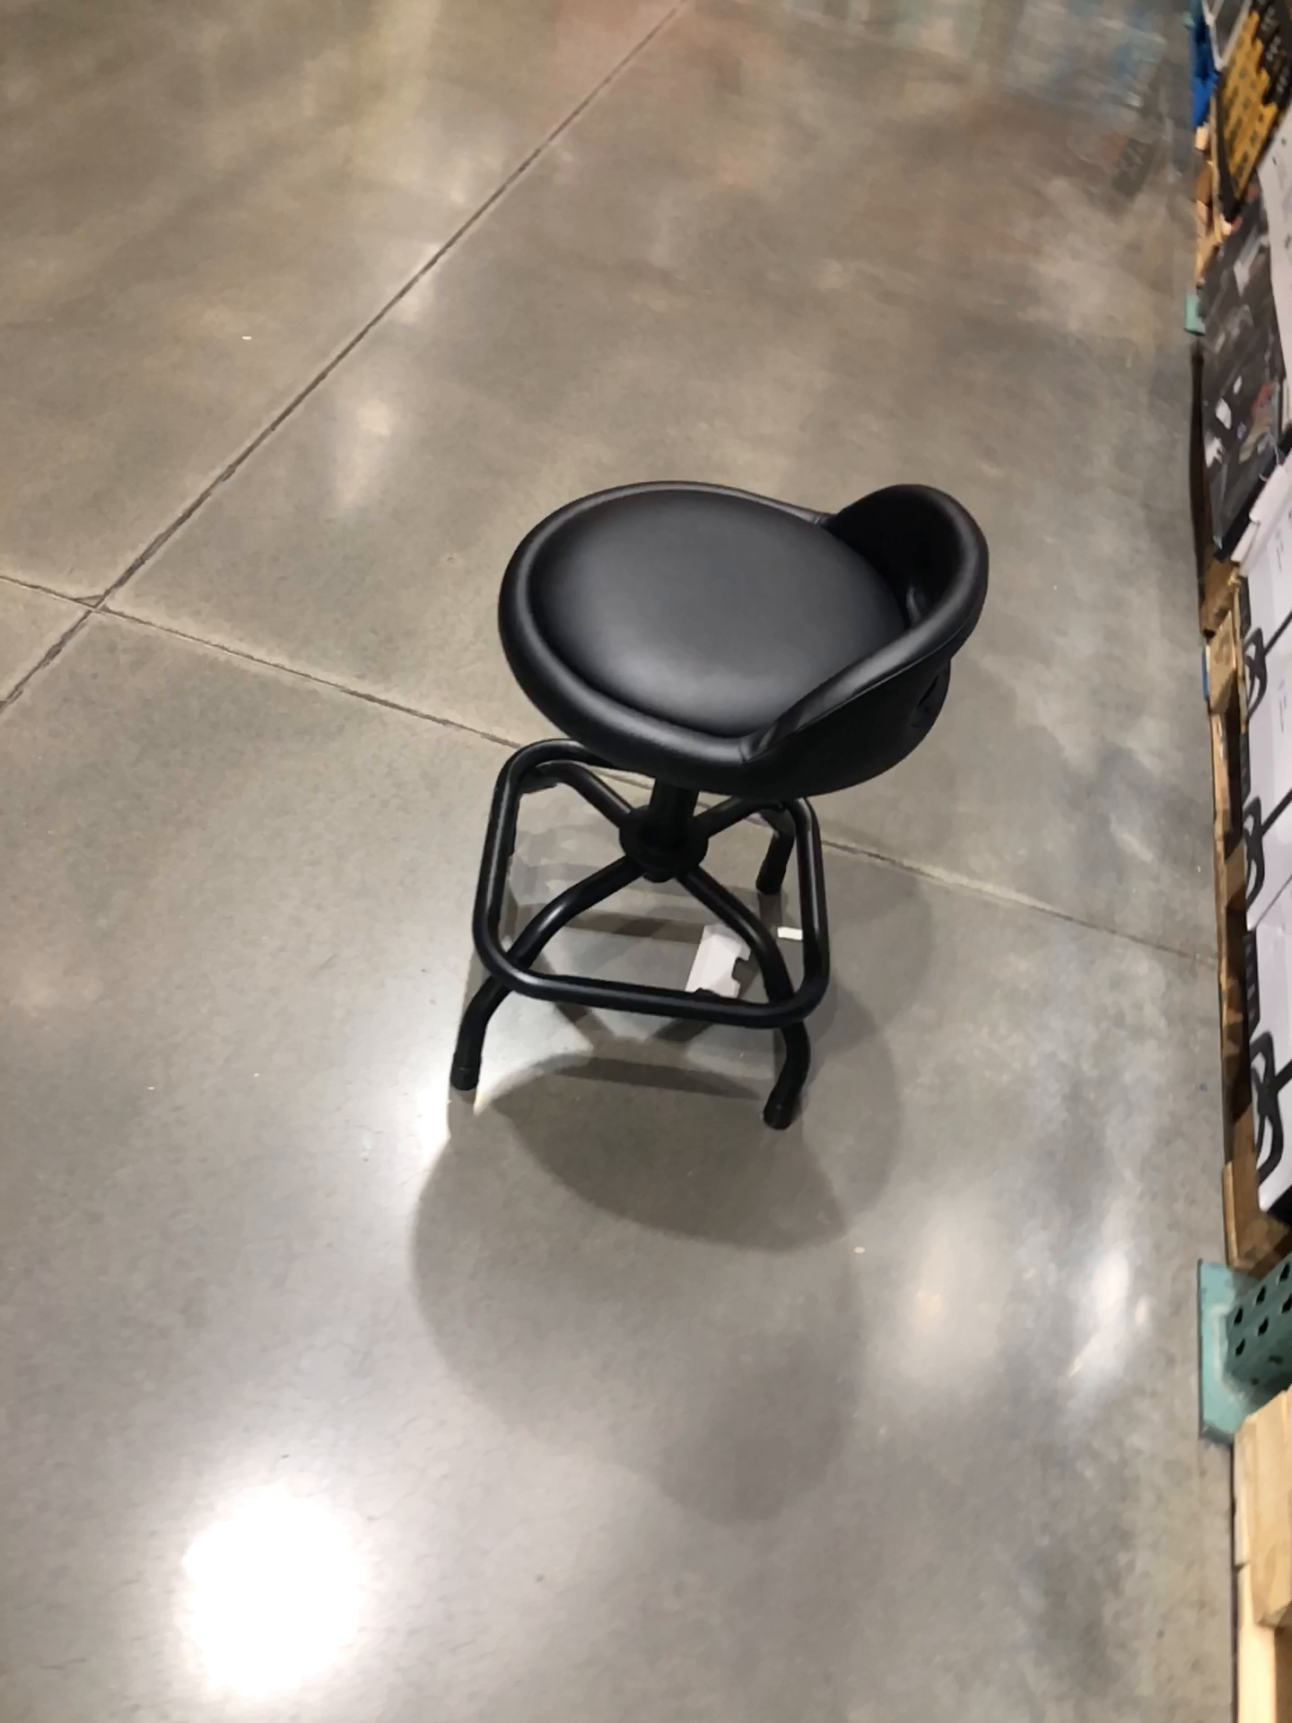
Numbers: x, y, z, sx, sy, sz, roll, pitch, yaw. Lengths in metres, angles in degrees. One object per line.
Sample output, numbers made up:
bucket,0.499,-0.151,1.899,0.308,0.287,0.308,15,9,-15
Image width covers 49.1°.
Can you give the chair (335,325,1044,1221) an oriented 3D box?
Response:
chair,0.029,-0.088,1.482,0.501,0.627,0.522,20,46,6
